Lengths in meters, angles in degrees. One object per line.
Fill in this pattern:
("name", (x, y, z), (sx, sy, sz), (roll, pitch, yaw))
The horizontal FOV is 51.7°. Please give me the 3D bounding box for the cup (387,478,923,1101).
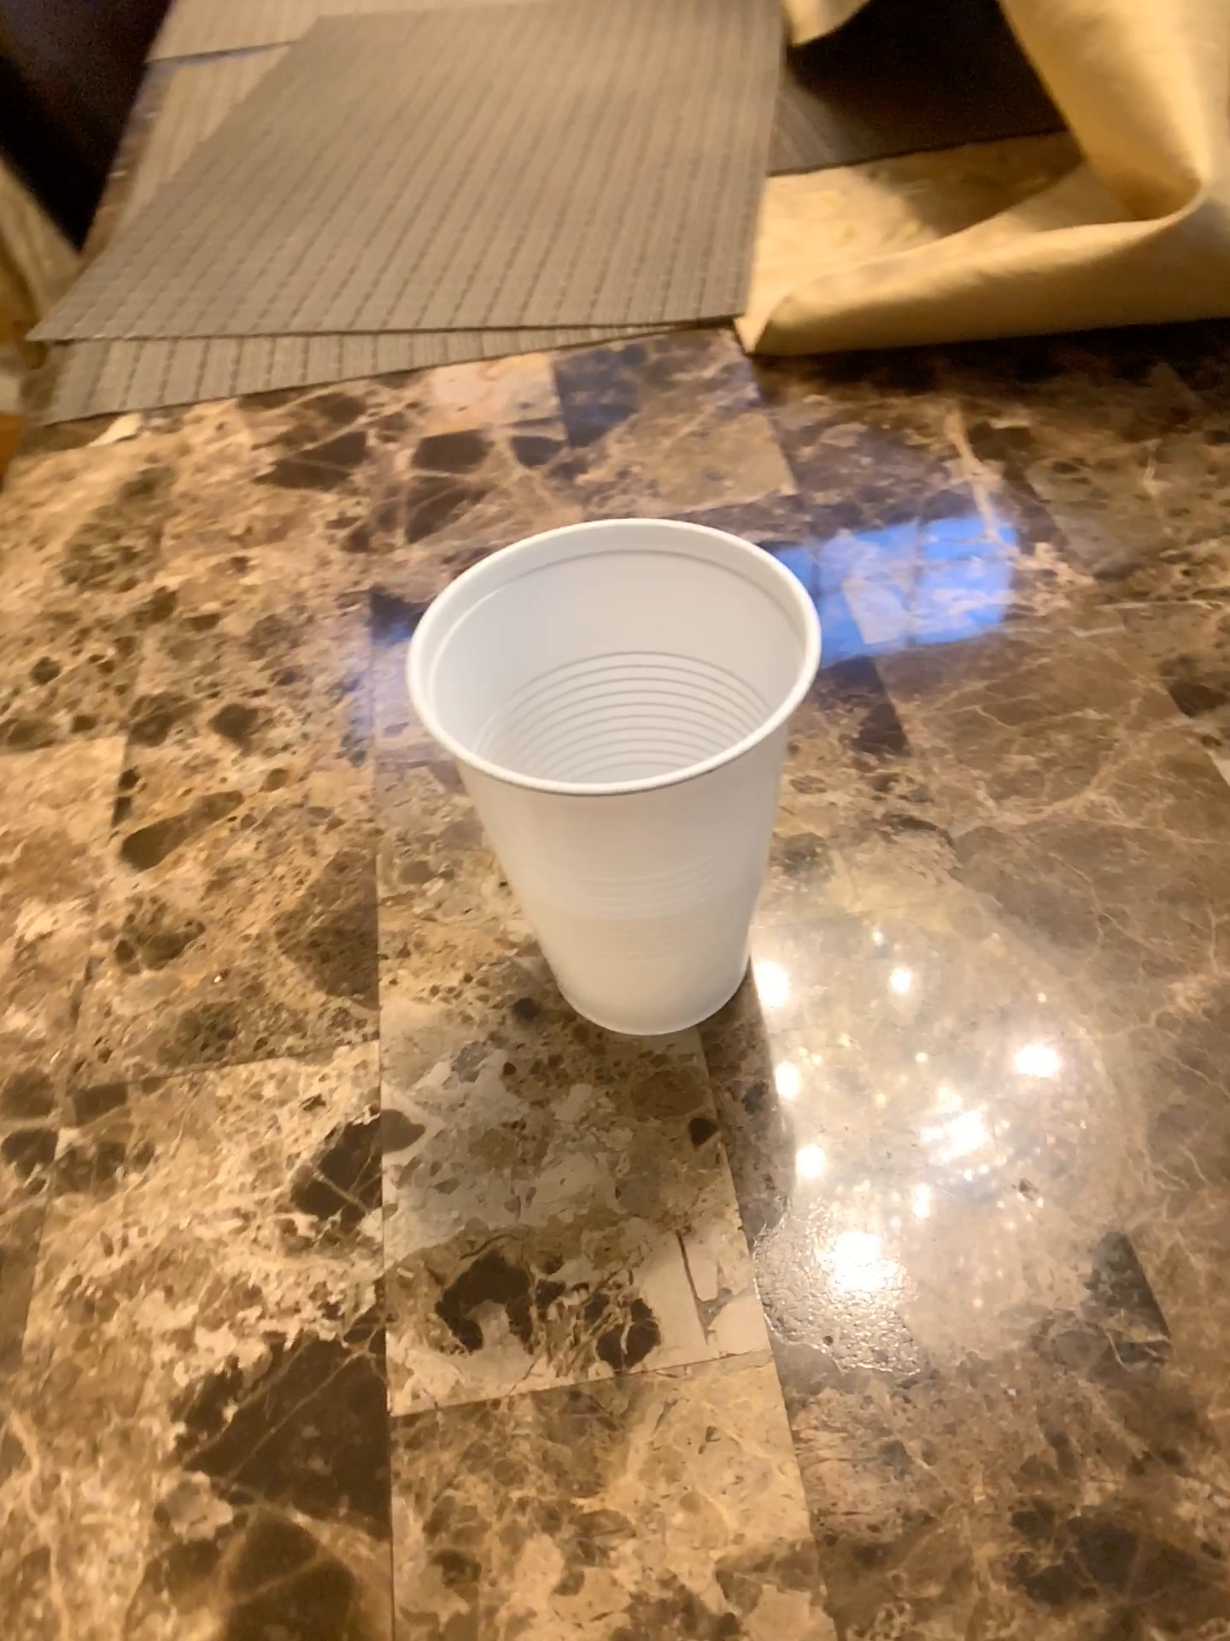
("cup", (0.007, -0.007, 0.268), (0.081, 0.083, 0.078), (-4, 46, 4))
